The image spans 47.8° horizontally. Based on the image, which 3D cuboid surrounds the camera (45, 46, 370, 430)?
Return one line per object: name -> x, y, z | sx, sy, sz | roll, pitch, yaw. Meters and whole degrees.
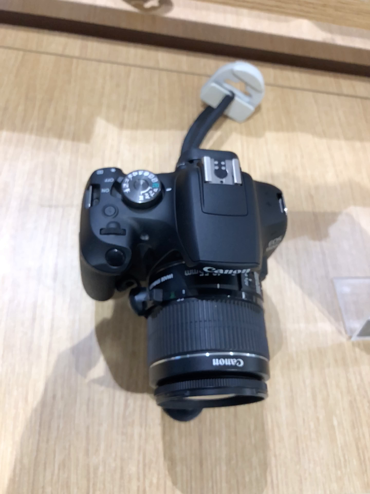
camera -> 0.003, -0.006, 0.247 | 0.140, 0.100, 0.191 | 0, 61, -11
